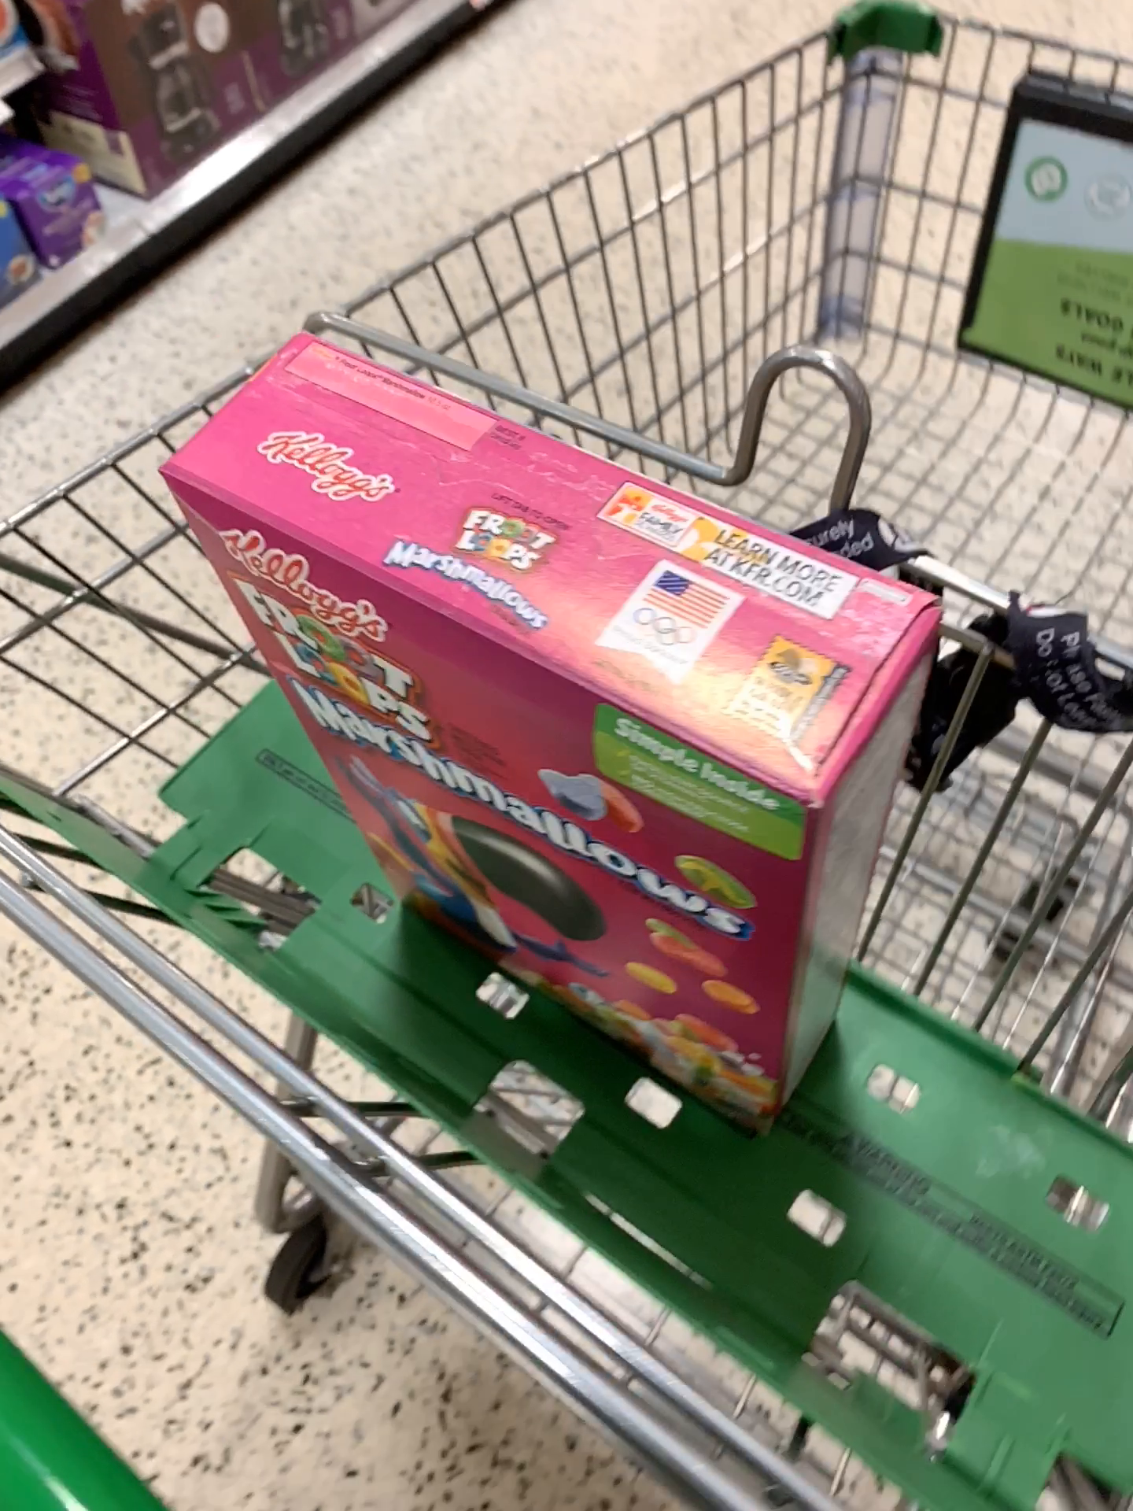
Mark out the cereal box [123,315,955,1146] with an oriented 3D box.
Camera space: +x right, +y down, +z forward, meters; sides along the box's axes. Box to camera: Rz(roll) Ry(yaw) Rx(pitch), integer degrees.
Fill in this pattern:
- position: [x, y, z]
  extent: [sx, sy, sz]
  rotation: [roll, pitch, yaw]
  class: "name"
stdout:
- position: [0.001, 0.018, 0.399]
  extent: [0.201, 0.288, 0.060]
  rotation: [29, 67, 22]
  class: "cereal box"
